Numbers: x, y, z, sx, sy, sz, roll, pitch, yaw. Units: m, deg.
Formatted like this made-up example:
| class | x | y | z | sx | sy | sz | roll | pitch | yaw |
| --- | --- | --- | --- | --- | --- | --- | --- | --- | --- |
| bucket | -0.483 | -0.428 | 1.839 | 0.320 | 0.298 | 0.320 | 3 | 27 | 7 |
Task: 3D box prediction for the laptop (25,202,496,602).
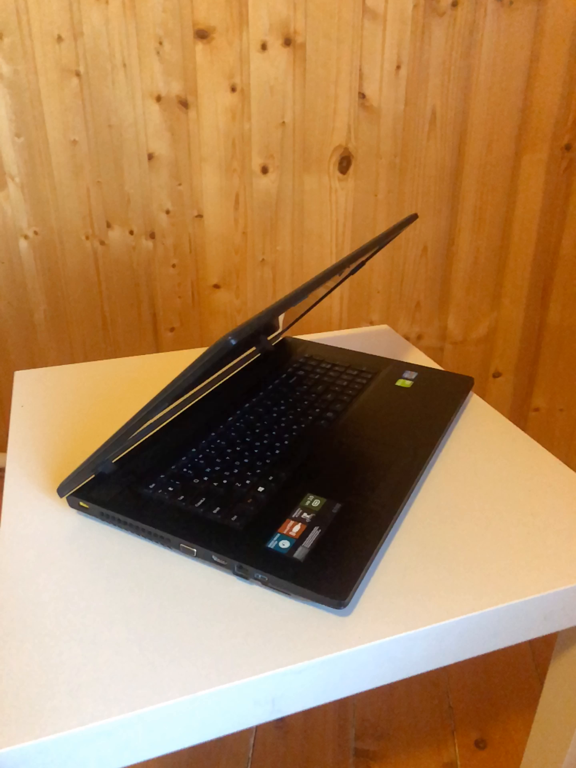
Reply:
| class | x | y | z | sx | sy | sz | roll | pitch | yaw |
| --- | --- | --- | --- | --- | --- | --- | --- | --- | --- |
| laptop | 0.014 | -0.038 | 0.633 | 0.271 | 0.184 | 0.412 | 14 | 30 | 25 |
